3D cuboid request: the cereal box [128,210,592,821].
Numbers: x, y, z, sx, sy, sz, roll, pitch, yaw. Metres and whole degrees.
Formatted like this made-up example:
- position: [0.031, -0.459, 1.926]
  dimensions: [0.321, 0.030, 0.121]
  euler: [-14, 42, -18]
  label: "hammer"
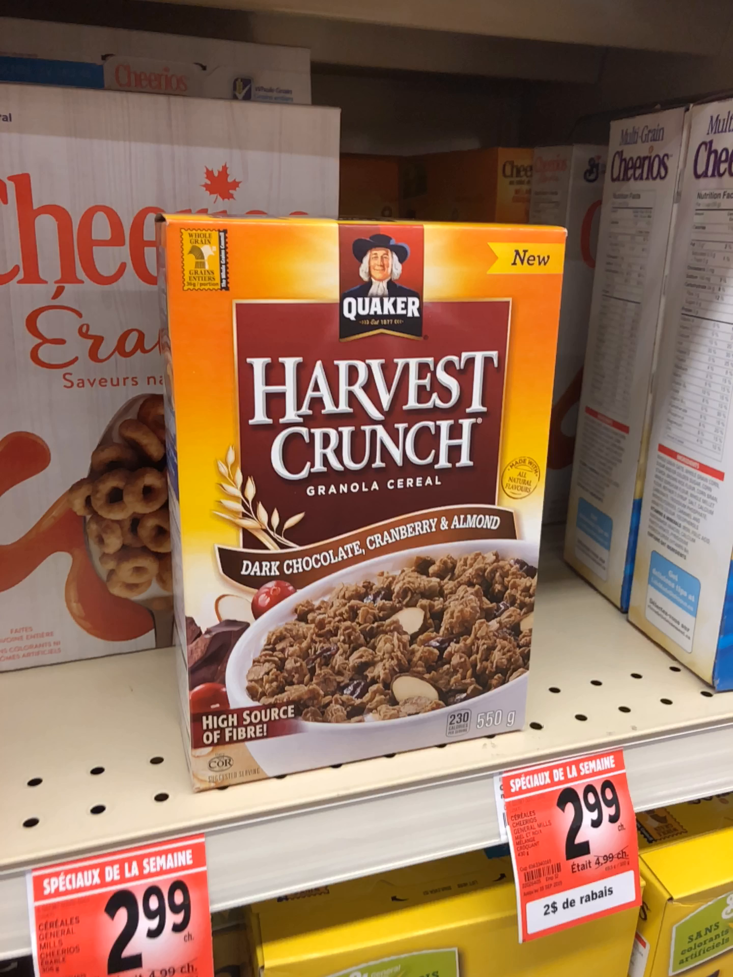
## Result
- position: [-0.006, 0.008, 0.351]
  dimensions: [0.170, 0.239, 0.060]
  euler: [-5, 19, -17]
  label: "cereal box"
